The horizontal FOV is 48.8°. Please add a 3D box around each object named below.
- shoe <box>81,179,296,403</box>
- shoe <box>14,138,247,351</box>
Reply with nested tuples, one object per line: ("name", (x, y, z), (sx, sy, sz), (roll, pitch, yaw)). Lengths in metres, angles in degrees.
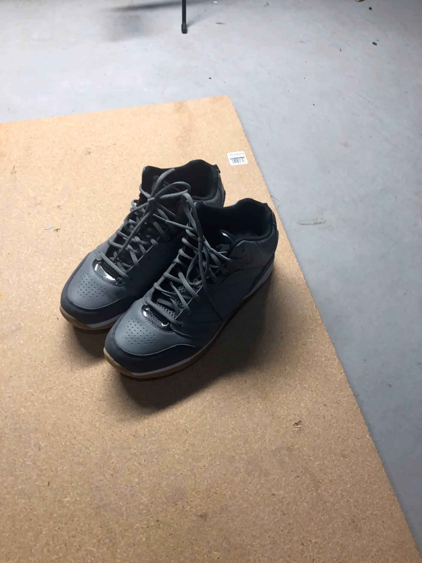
("shoe", (-0.020, 0.009, 0.606), (0.100, 0.140, 0.260), (38, 63, 21))
("shoe", (-0.093, -0.056, 0.628), (0.280, 0.120, 0.110), (-38, 66, -24))
